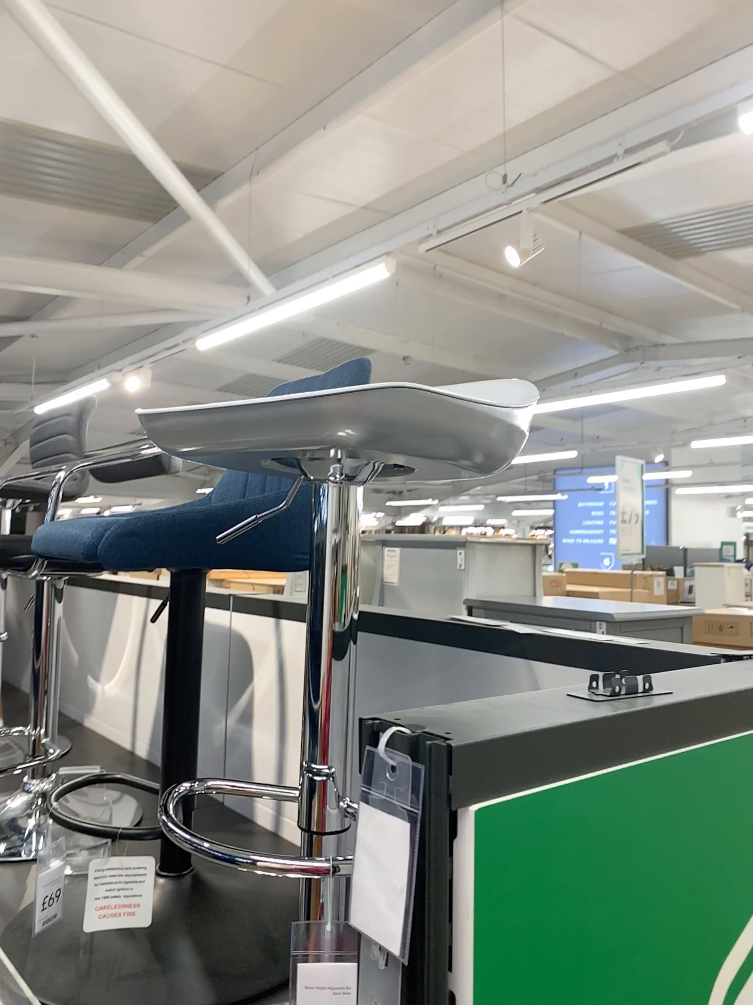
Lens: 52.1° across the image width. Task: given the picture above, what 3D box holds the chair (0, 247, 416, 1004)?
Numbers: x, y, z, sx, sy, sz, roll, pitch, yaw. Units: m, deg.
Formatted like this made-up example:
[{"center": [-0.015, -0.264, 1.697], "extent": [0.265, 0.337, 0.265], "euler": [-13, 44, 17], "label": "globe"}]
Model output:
[{"center": [-0.307, 0.174, 1.189], "extent": [0.482, 0.885, 0.532], "euler": [6, -6, -44], "label": "chair"}]

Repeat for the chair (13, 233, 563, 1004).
[{"center": [-0.078, 0.210, 0.841], "extent": [0.402, 0.805, 0.402], "euler": [-3, -6, 41], "label": "chair"}]
